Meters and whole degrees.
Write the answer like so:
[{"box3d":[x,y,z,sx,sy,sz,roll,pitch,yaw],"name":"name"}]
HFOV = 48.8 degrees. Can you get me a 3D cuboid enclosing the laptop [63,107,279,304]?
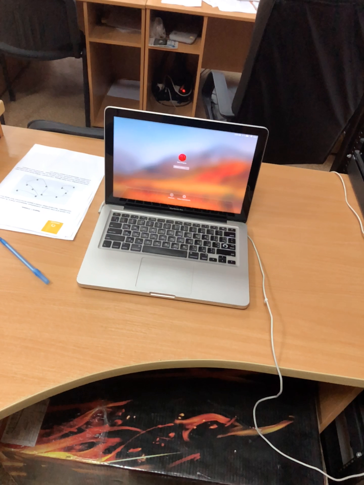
[{"box3d":[-0.014,-0.074,0.750,0.315,0.207,0.267,7,45,-1],"name":"laptop"}]
